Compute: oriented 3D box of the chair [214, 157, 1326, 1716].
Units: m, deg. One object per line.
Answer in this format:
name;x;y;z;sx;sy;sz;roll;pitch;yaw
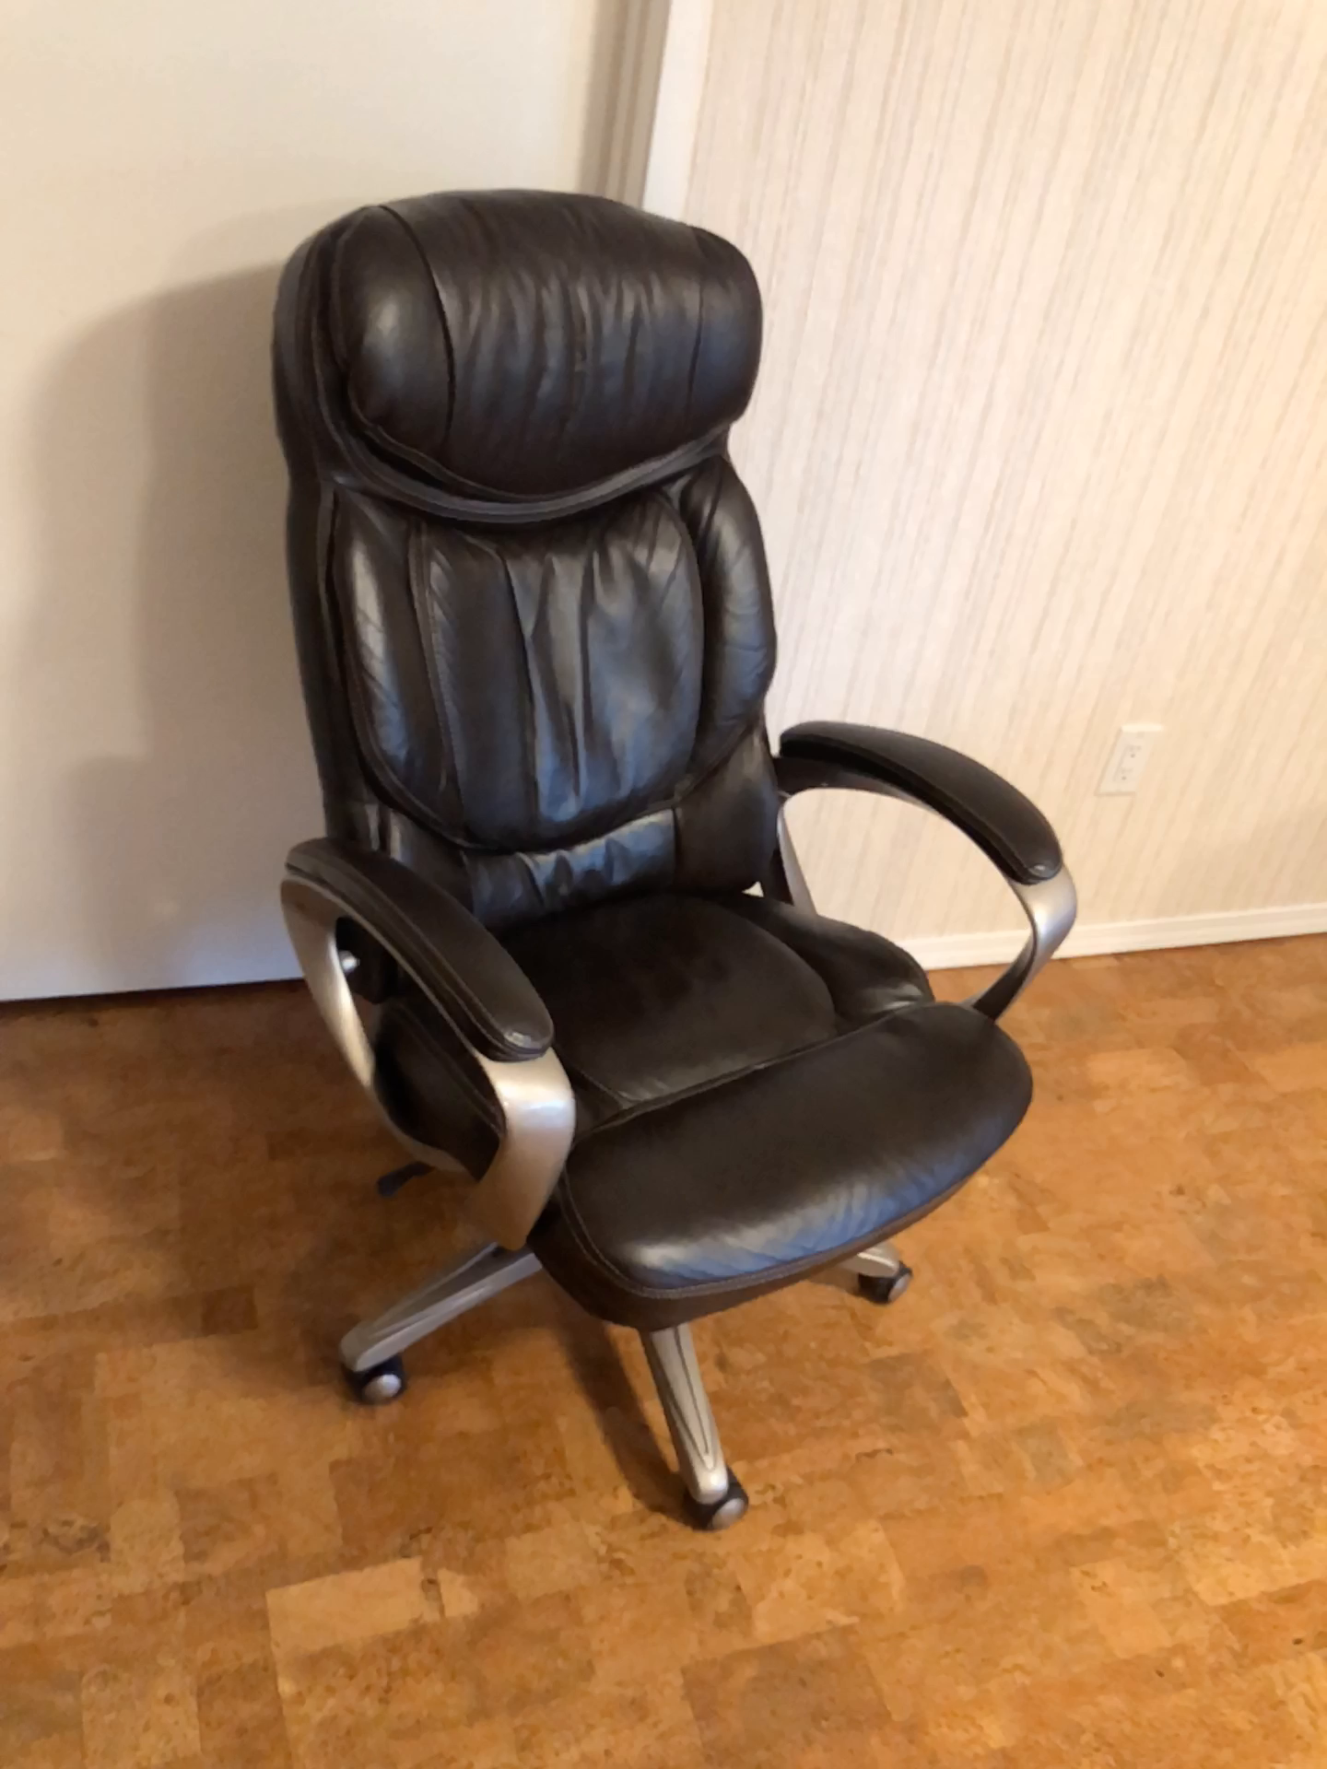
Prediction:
chair;0.065;0.011;1.342;0.691;1.086;0.651;-19;44;-36
